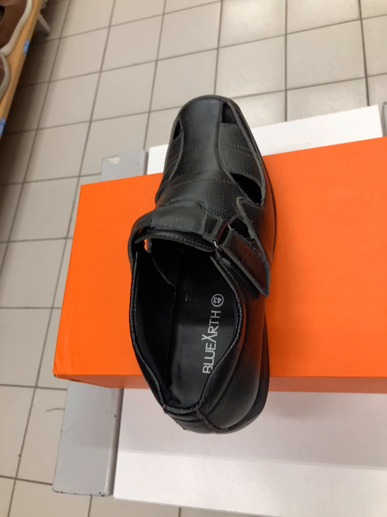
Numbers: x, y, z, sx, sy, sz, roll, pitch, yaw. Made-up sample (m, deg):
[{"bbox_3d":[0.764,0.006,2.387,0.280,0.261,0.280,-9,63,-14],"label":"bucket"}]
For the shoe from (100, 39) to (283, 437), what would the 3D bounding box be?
[{"bbox_3d":[0.012,-0.019,0.355,0.100,0.100,0.301,-5,66,18],"label":"shoe"}]
